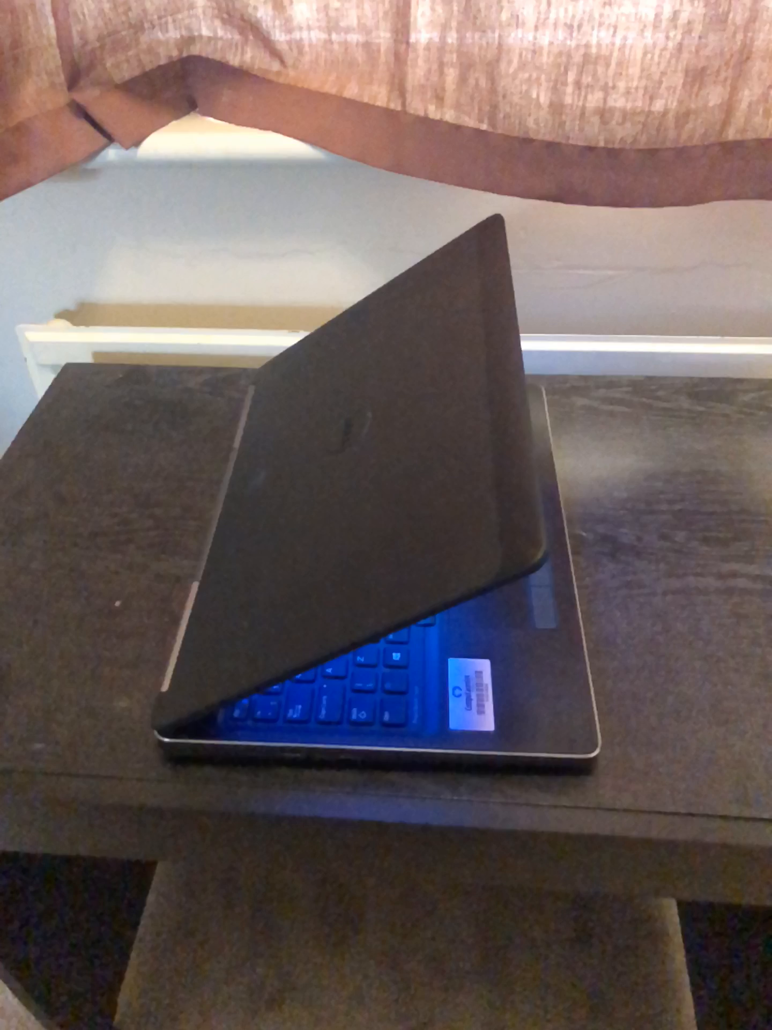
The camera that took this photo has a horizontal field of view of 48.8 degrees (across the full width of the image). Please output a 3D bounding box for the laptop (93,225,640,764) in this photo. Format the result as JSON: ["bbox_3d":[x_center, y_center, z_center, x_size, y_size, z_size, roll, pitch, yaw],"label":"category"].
[{"bbox_3d":[-0.001,-0.046,0.554,0.243,0.134,0.365,1,42,4],"label":"laptop"}]
